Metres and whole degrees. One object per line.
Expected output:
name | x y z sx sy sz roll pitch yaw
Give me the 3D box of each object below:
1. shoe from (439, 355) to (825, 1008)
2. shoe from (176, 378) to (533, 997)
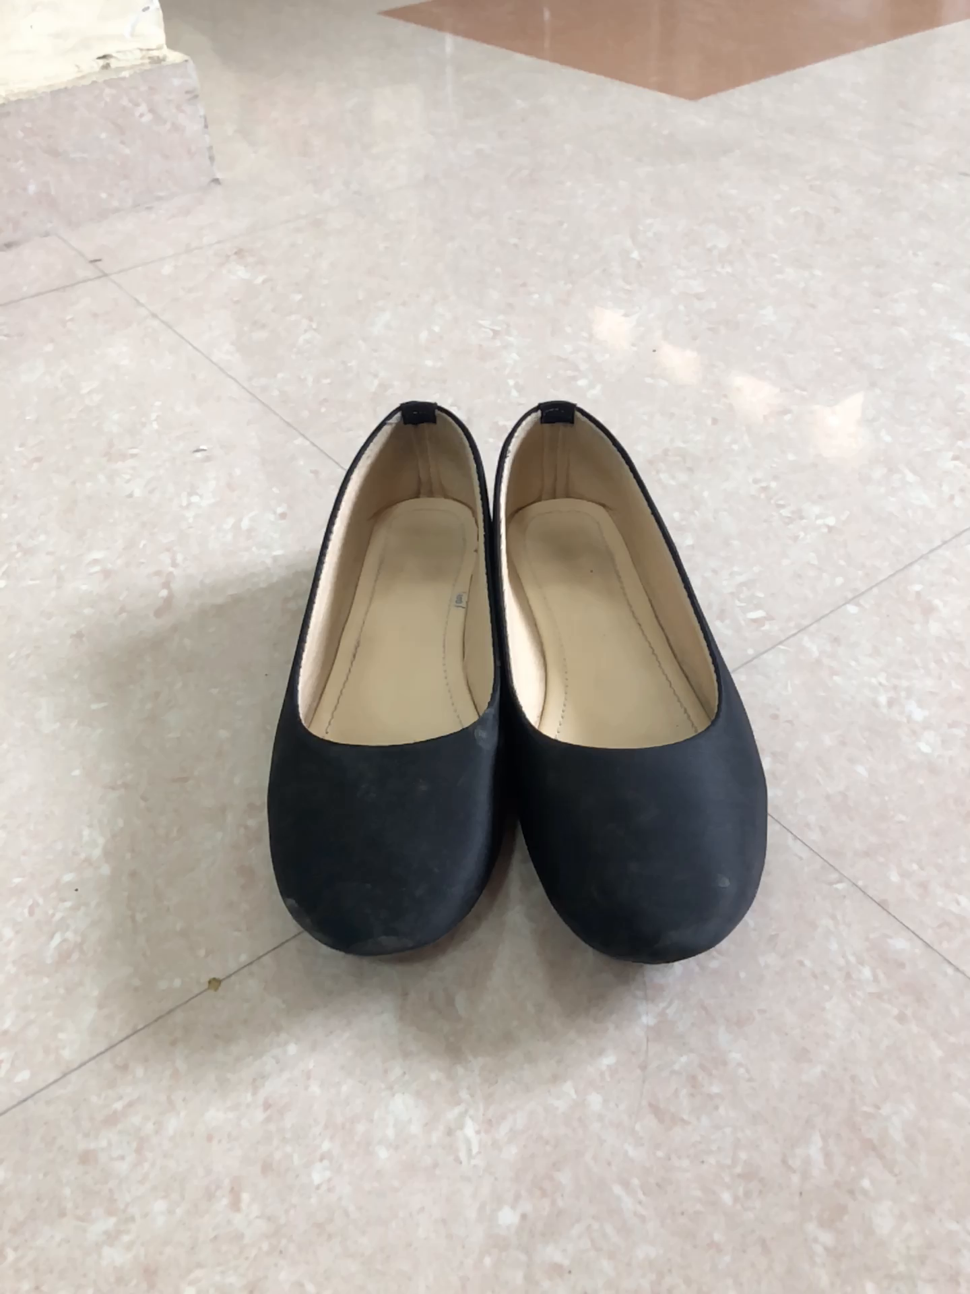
shoe | 0.035 -0.008 0.381 0.090 0.060 0.251 -5 45 0
shoe | -0.031 -0.004 0.396 0.090 0.060 0.251 -1 45 5
